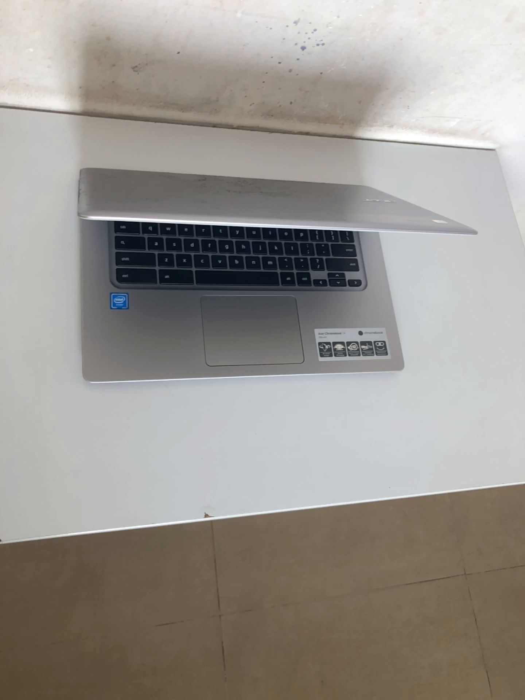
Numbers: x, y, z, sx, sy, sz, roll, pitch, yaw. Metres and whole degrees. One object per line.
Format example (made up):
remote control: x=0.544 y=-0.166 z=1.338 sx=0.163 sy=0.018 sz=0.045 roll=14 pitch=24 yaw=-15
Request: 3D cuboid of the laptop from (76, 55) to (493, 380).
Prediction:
laptop: x=0.002 y=-0.107 z=0.538 sx=0.326 sy=0.155 sz=0.222 roll=-1 pitch=71 yaw=-17
